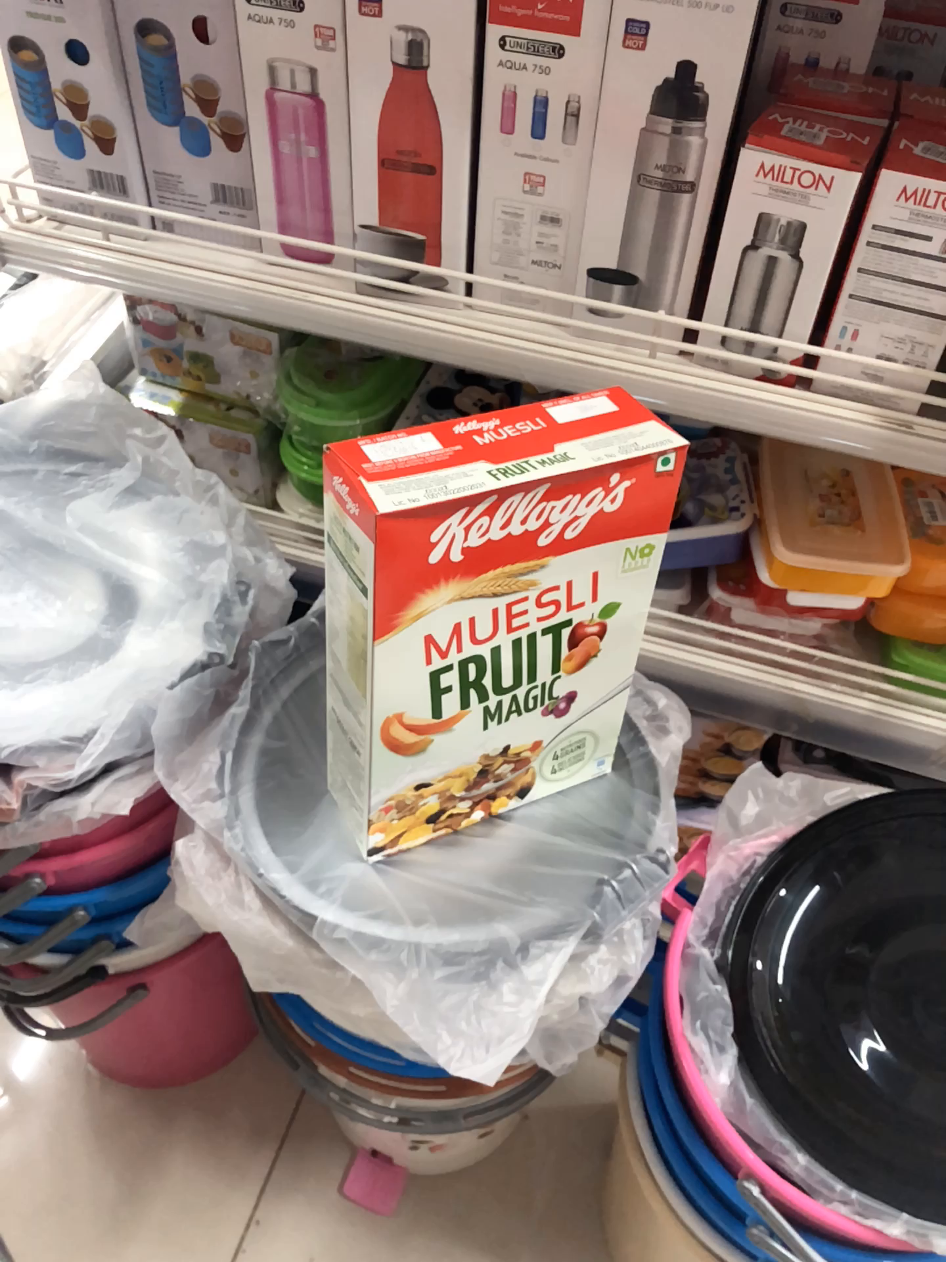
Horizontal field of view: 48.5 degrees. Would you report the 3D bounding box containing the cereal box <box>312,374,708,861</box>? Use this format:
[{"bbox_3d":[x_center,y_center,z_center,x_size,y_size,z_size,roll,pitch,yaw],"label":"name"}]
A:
[{"bbox_3d":[0.014,-0.004,0.607,0.190,0.249,0.070,-16,44,-23],"label":"cereal box"}]
